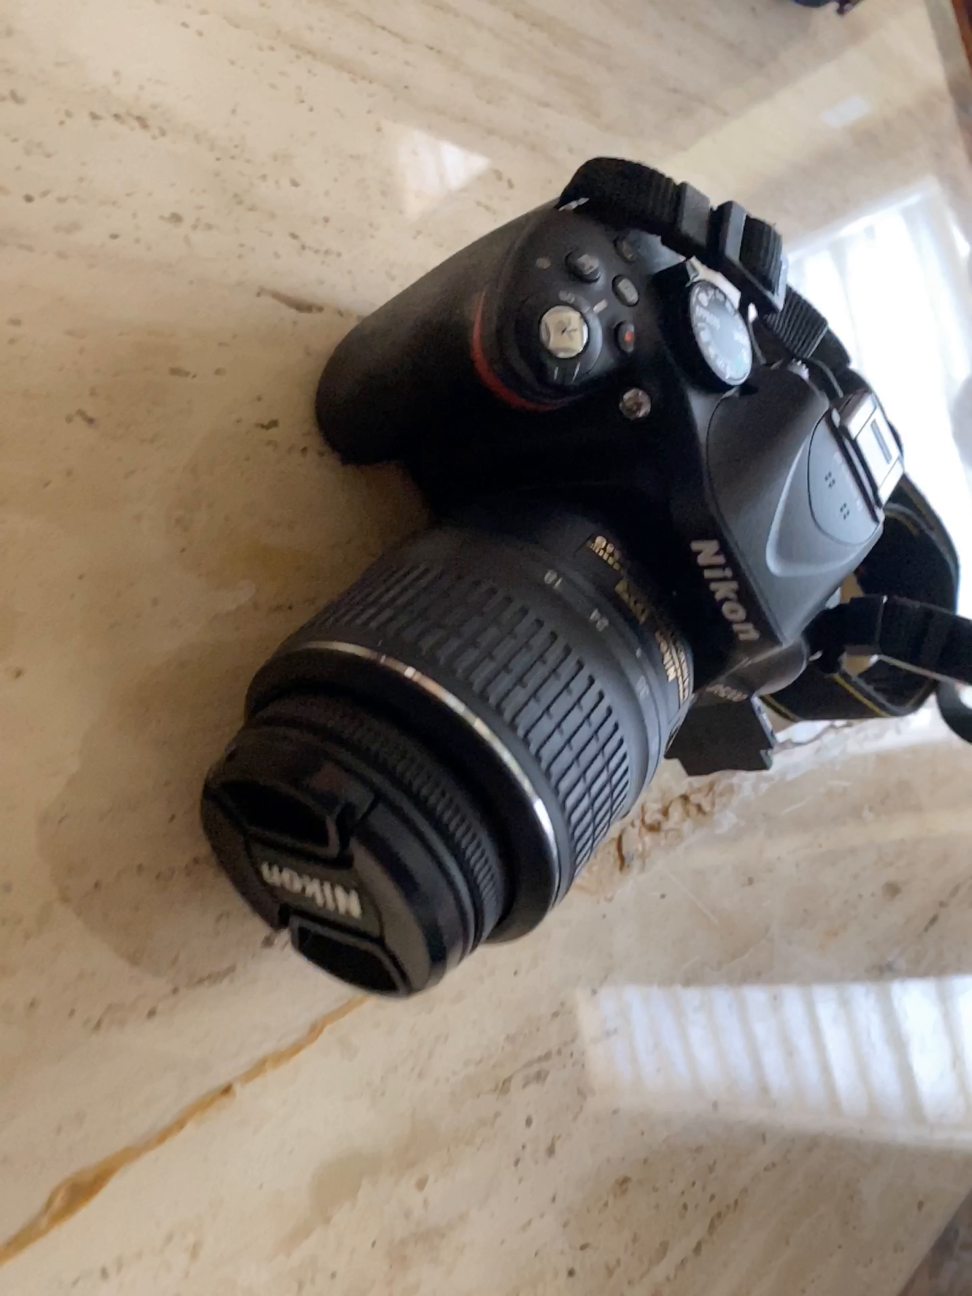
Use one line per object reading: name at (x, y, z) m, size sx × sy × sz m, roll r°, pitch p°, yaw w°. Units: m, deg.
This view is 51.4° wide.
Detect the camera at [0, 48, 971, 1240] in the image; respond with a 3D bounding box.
camera at (0.022, -0.010, 0.211) m, size 0.152 × 0.099 × 0.160 m, roll 58°, pitch 45°, yaw -16°
